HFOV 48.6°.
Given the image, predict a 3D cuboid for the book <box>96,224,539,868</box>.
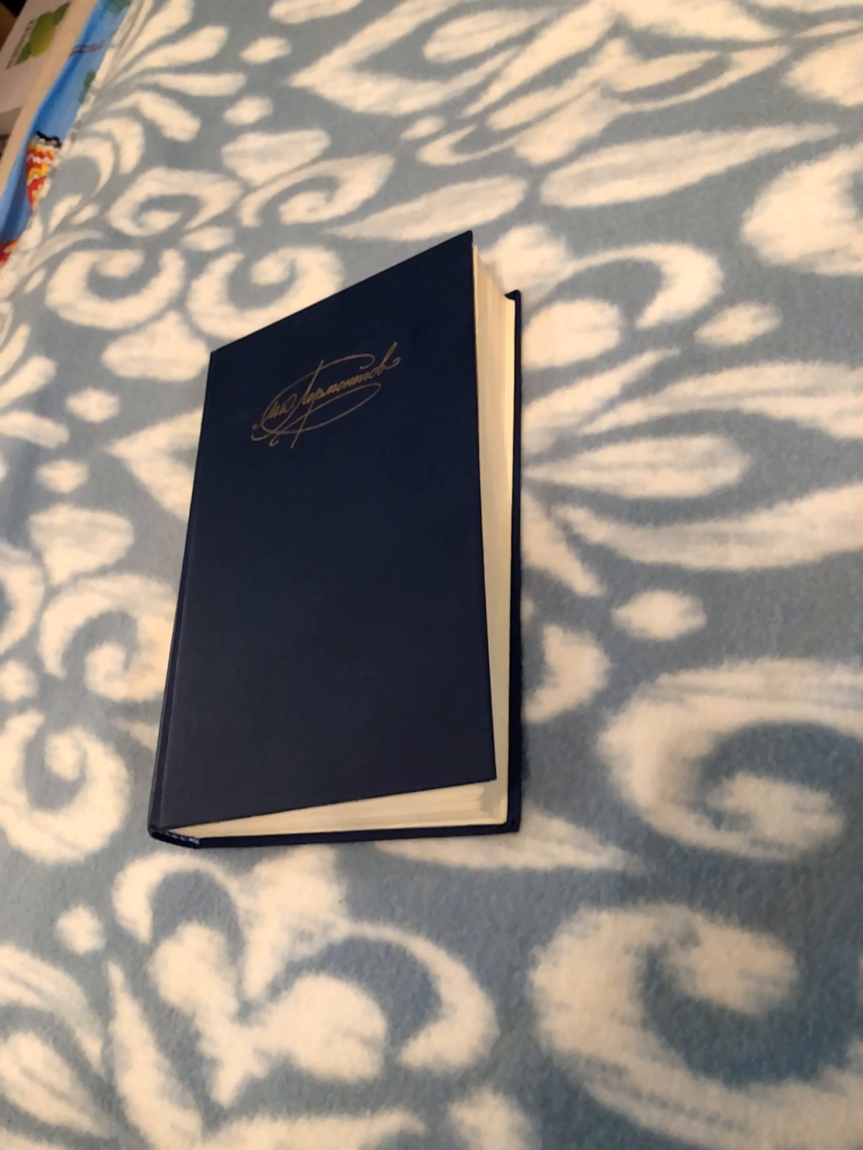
[{"bbox_3d":[-0.037,-0.009,0.335,0.139,0.040,0.201,-15,59,29],"label":"book"}]
